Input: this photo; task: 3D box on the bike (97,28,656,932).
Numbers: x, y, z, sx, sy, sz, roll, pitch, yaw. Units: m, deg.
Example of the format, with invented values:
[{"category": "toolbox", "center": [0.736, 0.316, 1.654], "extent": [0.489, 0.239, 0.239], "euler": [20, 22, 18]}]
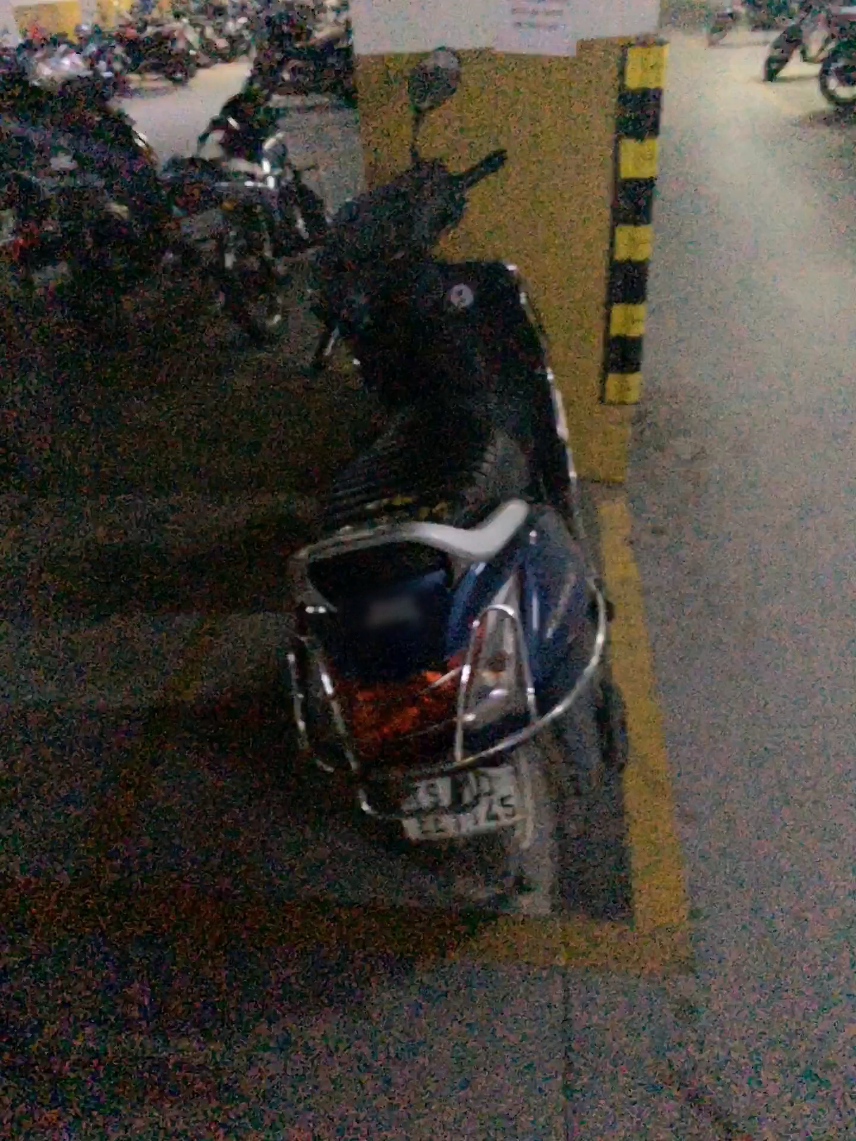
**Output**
[{"category": "bike", "center": [-0.090, -0.260, 1.745], "extent": [0.630, 1.062, 1.276], "euler": [-6, 40, -2]}]
